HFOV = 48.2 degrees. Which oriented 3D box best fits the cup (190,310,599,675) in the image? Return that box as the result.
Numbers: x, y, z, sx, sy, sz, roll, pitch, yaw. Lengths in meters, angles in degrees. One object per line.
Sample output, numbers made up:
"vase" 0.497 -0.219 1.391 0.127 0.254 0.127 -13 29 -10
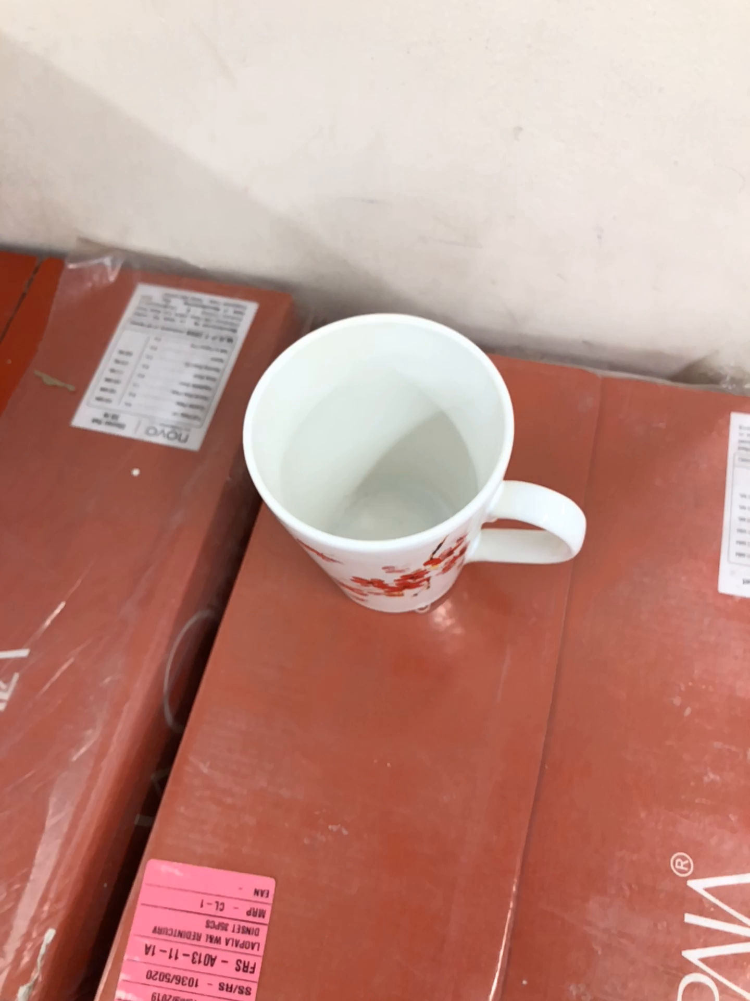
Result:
"cup" 0.012 0.002 0.293 0.110 0.100 0.080 7 66 8
